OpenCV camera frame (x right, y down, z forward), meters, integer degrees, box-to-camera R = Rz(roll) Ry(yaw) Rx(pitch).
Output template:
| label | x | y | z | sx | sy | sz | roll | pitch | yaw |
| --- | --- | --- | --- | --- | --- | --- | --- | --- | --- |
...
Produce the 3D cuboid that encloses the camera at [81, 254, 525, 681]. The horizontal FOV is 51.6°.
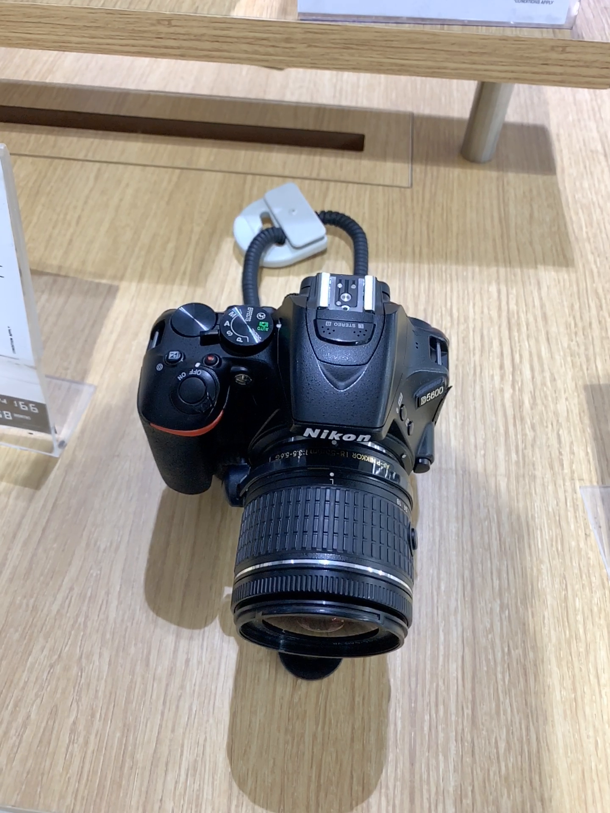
| label | x | y | z | sx | sy | sz | roll | pitch | yaw |
| --- | --- | --- | --- | --- | --- | --- | --- | --- | --- |
| camera | 0.001 | 0.021 | 0.223 | 0.110 | 0.080 | 0.120 | 3 | 56 | 0 |
